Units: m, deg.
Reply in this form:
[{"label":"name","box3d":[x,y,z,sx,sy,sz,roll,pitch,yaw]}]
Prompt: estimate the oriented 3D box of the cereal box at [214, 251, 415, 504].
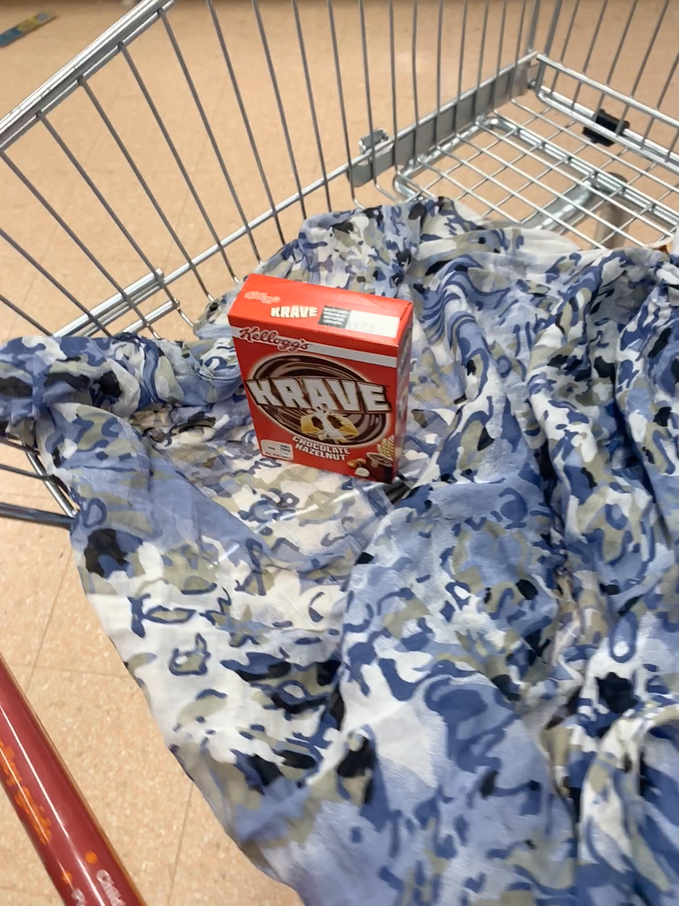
[{"label":"cereal box","box3d":[-0.010,-0.036,0.401,0.090,0.149,0.040,13,57,11]}]
